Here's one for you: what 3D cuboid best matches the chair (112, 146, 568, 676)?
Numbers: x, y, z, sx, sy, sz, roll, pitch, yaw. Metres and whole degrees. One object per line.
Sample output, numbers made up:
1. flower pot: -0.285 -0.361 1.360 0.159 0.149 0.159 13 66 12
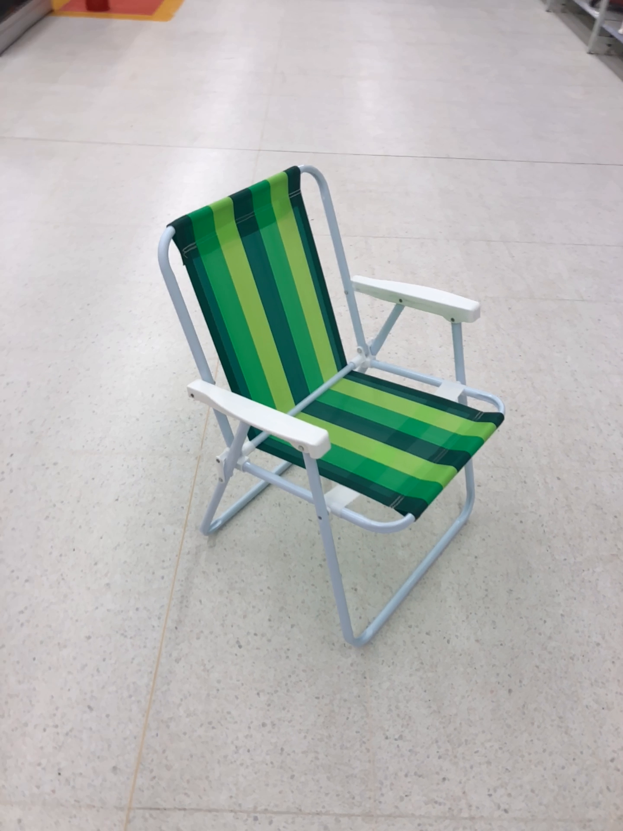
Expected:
1. chair: 0.044 -0.024 1.306 0.521 0.715 0.513 29 47 27
